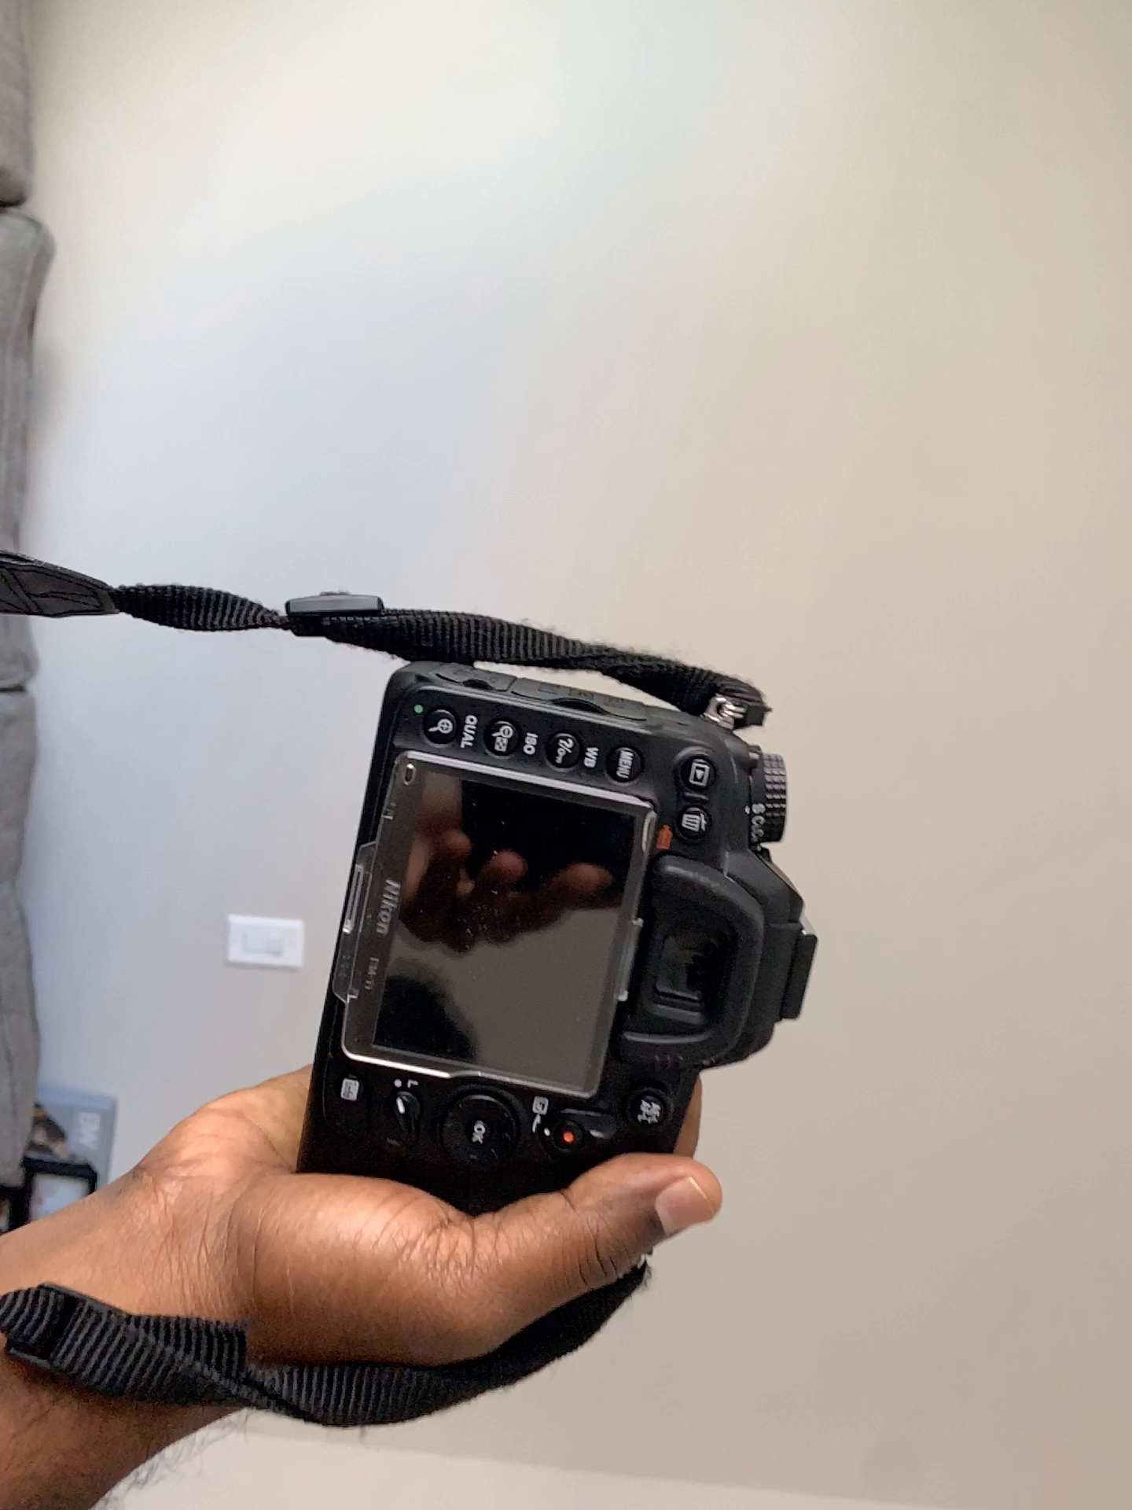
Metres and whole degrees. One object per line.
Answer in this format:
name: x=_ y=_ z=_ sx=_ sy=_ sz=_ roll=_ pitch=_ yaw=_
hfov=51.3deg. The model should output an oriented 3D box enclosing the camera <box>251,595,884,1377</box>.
camera: x=-0.002 y=0.047 z=0.355 sx=0.170 sy=0.114 sz=0.160 roll=-89 pitch=-168 yaw=-80
